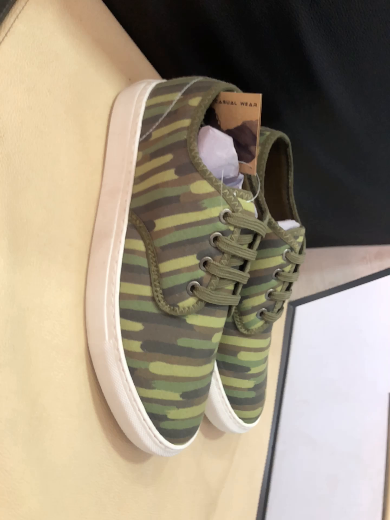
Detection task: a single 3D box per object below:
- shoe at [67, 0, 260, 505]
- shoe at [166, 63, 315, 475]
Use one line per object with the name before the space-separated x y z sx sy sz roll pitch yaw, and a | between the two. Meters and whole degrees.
shoe | -0.019 -0.013 0.316 0.101 0.079 0.310 -1 88 -56
shoe | 0.044 0.007 0.392 0.101 0.079 0.310 -1 88 -56
